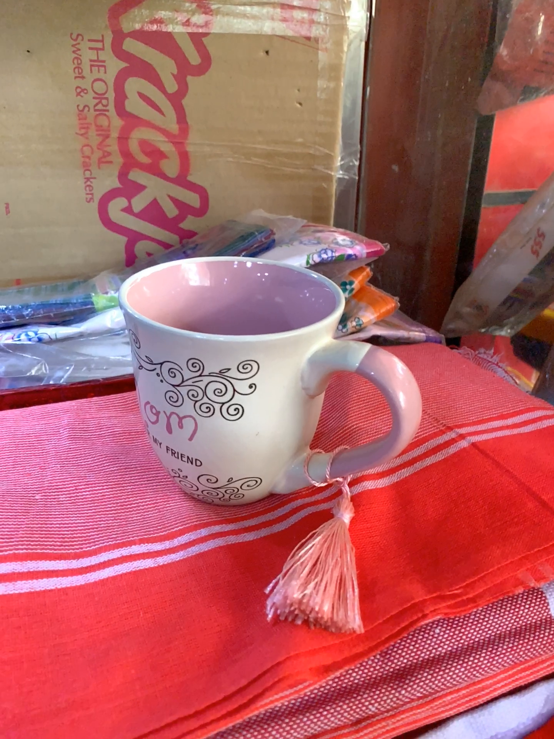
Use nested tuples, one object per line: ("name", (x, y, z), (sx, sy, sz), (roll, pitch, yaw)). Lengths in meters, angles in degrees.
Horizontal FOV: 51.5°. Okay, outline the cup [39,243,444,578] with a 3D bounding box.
("cup", (-0.011, 0.004, 0.232), (0.125, 0.075, 0.086), (14, 30, 26))
